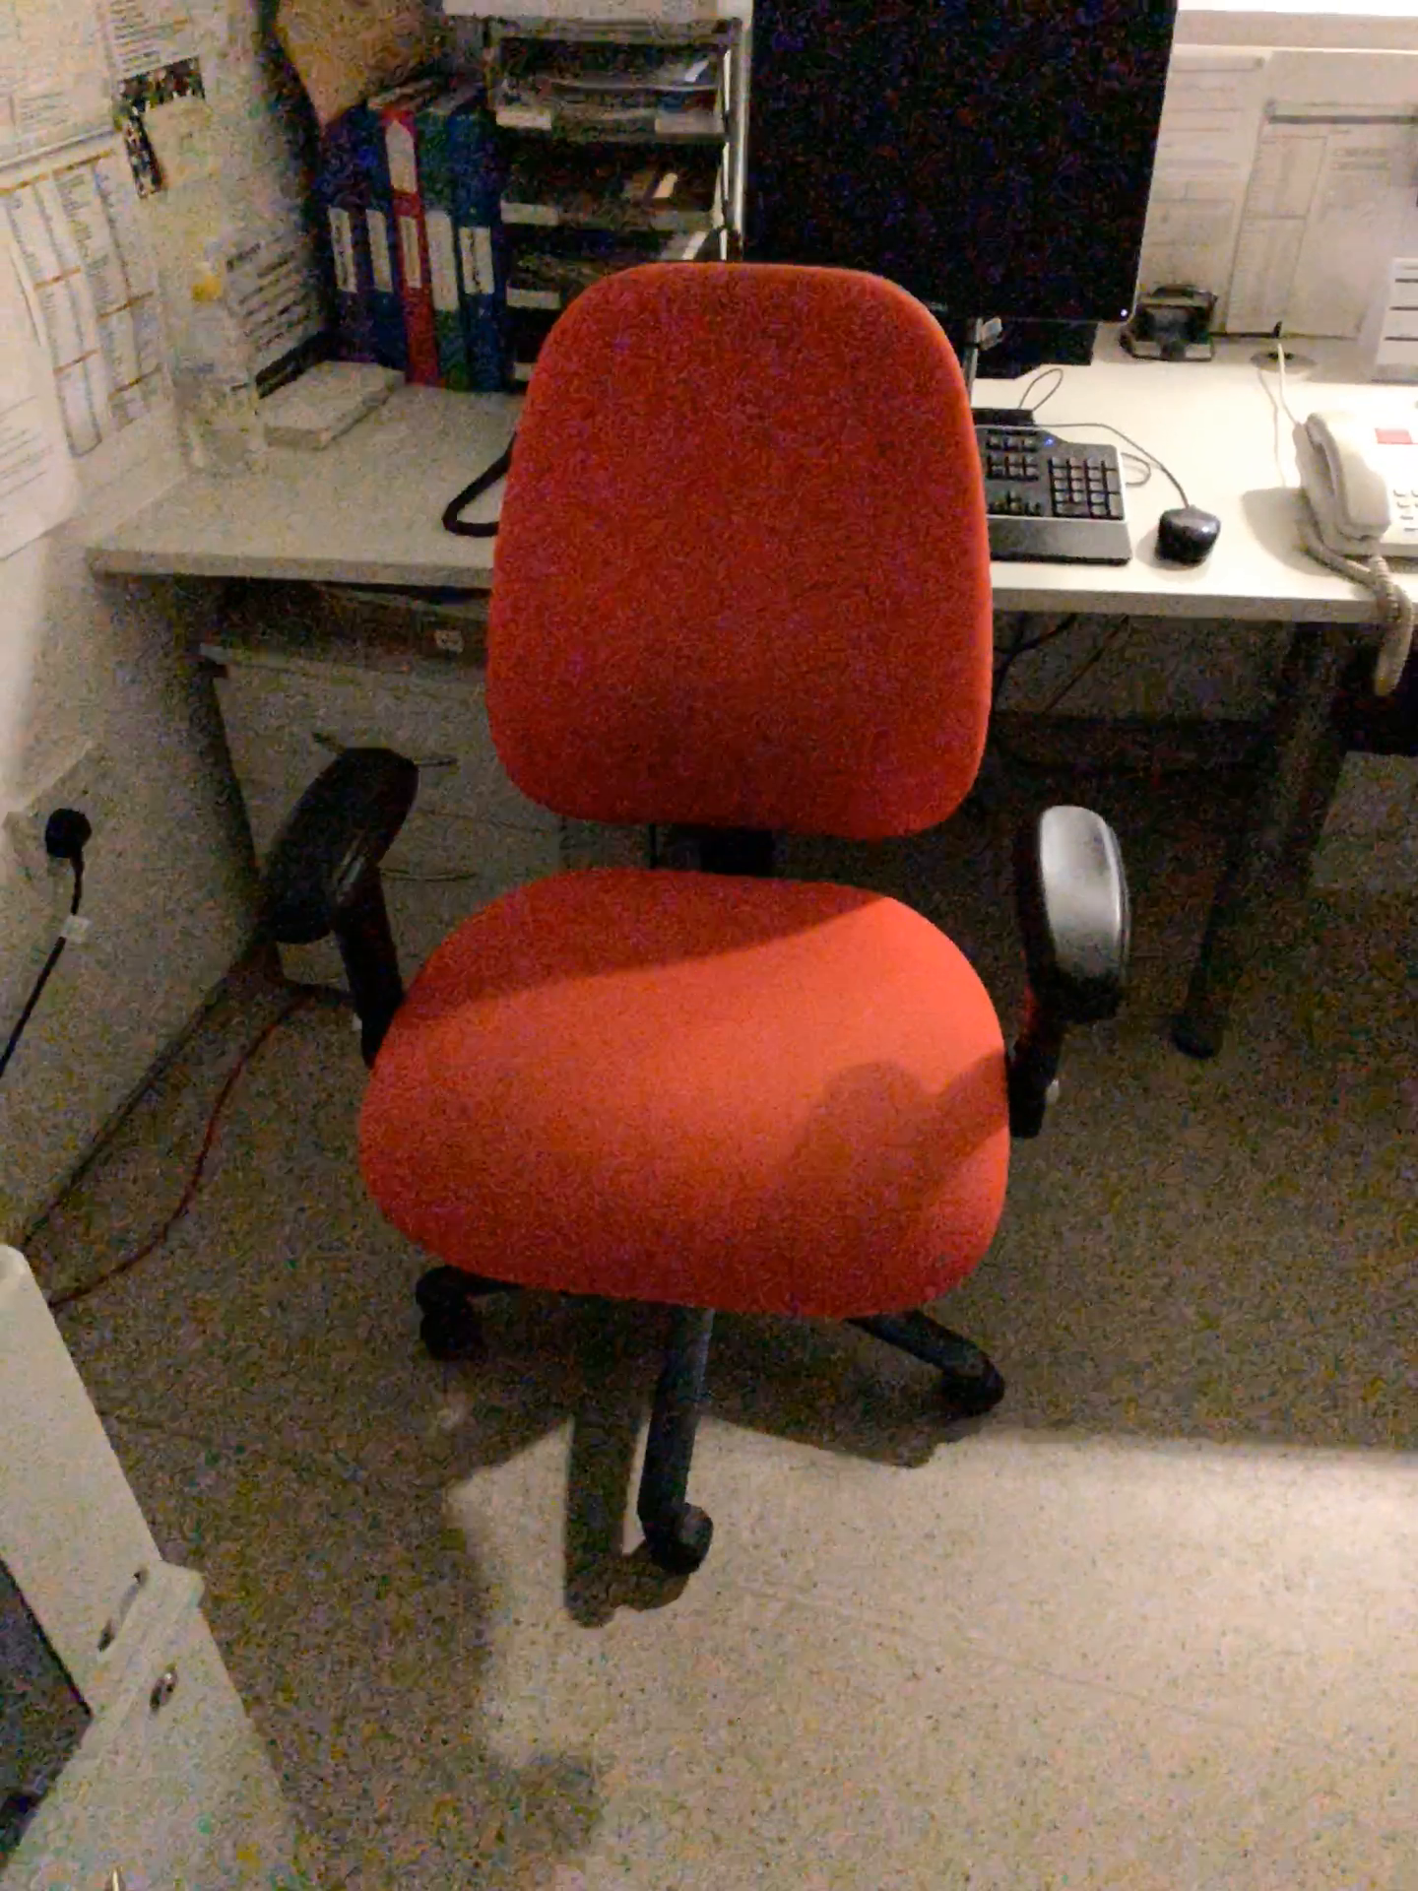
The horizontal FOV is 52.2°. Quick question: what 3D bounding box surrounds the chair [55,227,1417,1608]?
[{"bbox_3d":[0.039,-0.008,1.204,0.670,0.921,0.656,2,39,1],"label":"chair"}]
